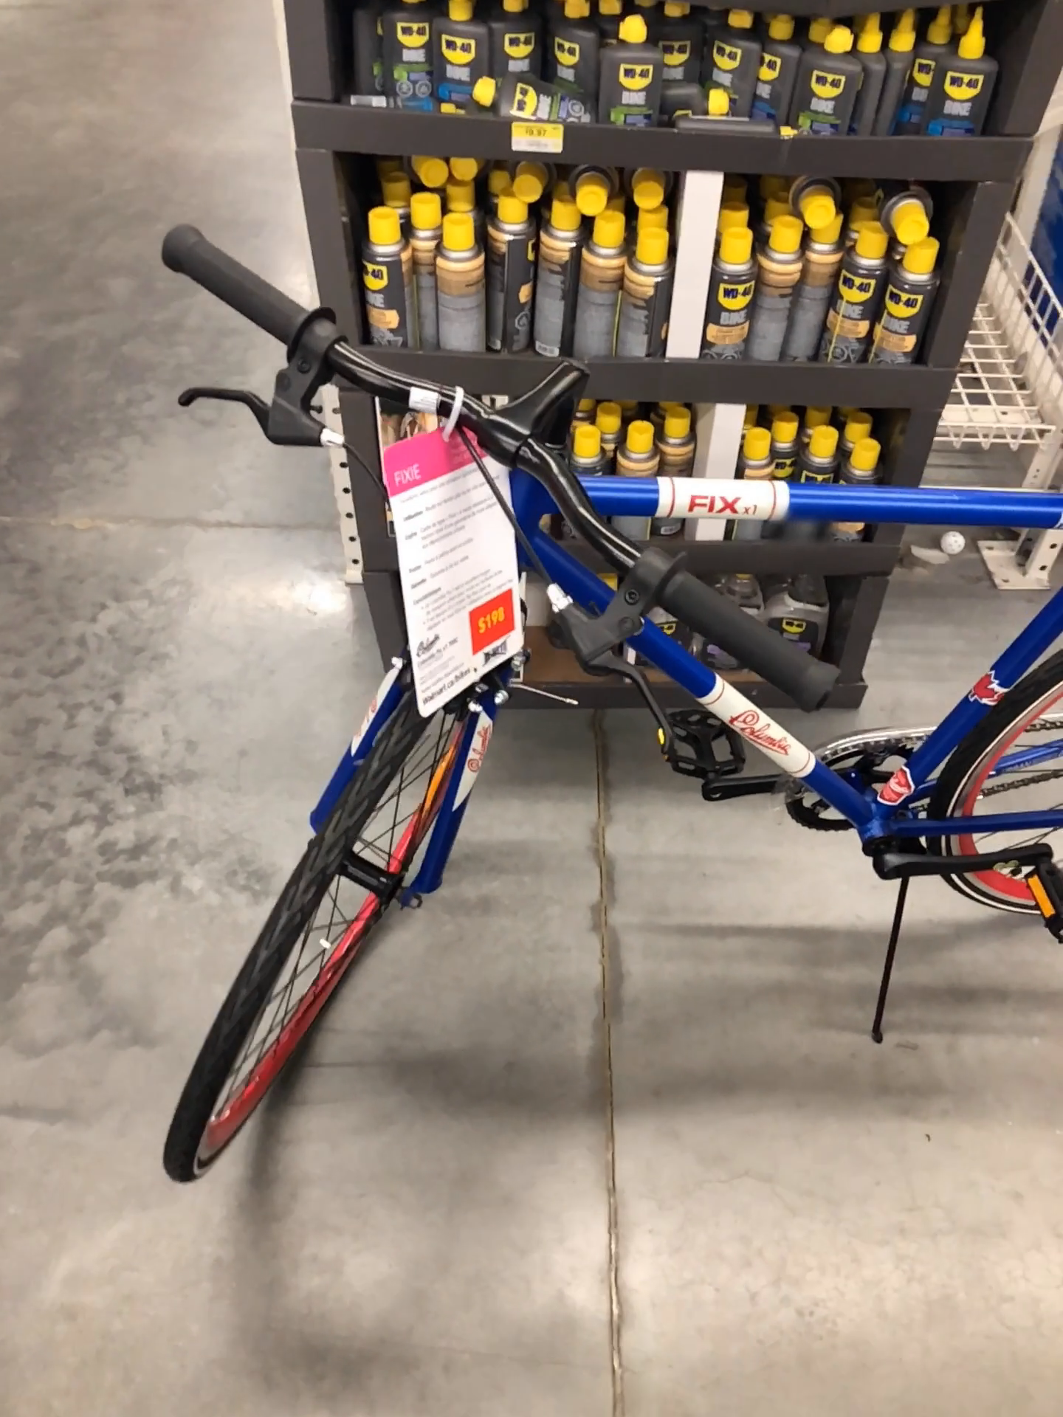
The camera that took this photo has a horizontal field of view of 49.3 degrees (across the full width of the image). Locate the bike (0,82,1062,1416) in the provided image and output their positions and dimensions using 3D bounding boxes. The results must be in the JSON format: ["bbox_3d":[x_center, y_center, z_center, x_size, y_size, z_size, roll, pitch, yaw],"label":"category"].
[{"bbox_3d":[0.422,0.066,1.030,1.491,0.938,0.605,-11,50,-16],"label":"bike"}]
